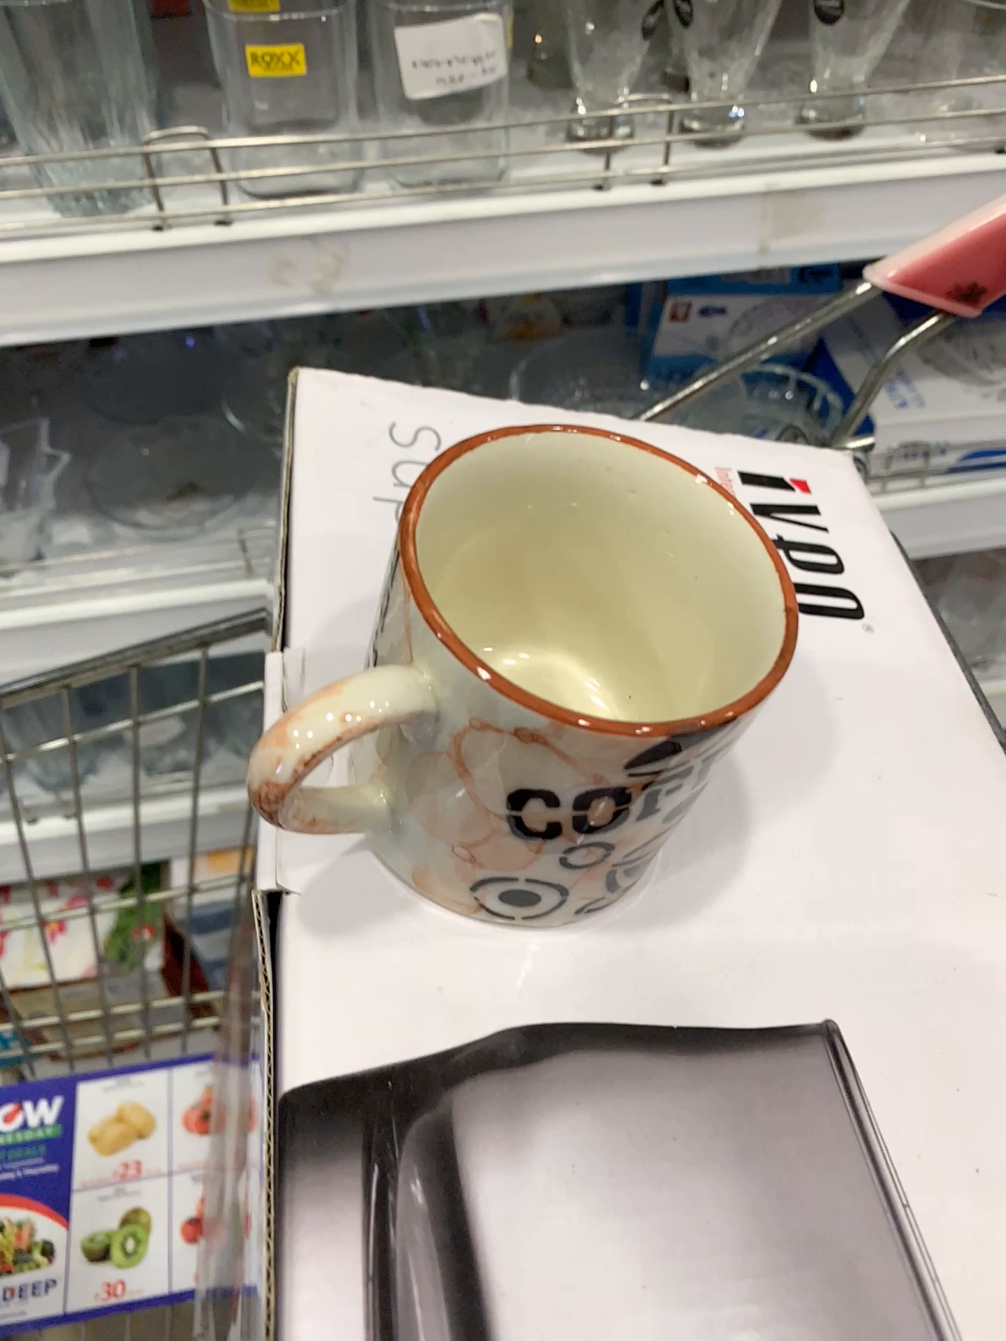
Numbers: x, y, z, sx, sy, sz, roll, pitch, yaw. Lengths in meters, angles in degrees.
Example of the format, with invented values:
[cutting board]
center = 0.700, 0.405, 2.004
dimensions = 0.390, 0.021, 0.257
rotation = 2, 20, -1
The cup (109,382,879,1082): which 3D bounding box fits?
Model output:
[cup]
center = -0.005, 0.004, 0.187
dimensions = 0.100, 0.070, 0.070
rotation = -19, 52, -30
